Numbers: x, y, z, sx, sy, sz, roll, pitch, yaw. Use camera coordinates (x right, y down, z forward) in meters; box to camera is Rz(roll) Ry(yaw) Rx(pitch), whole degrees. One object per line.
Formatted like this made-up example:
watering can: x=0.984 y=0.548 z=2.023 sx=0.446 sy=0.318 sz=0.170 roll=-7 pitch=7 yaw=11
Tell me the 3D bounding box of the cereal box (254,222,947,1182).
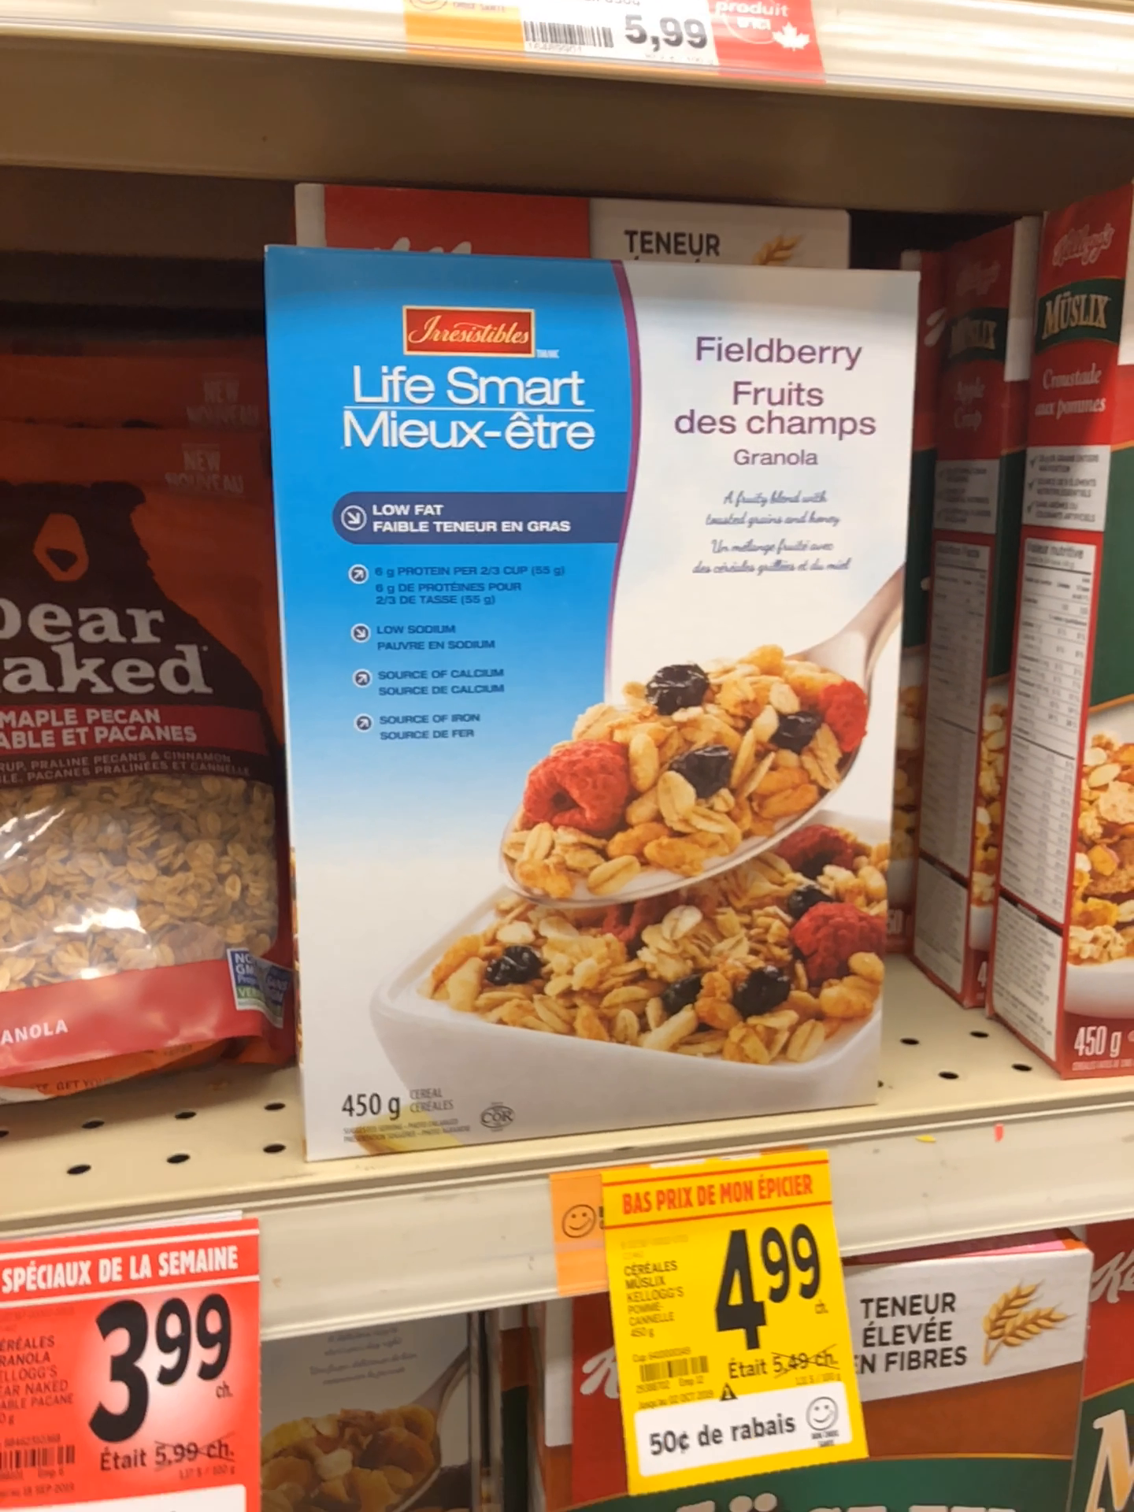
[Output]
cereal box: x=0.007 y=-0.013 z=0.350 sx=0.170 sy=0.239 sz=0.050 roll=-2 pitch=12 yaw=-11
